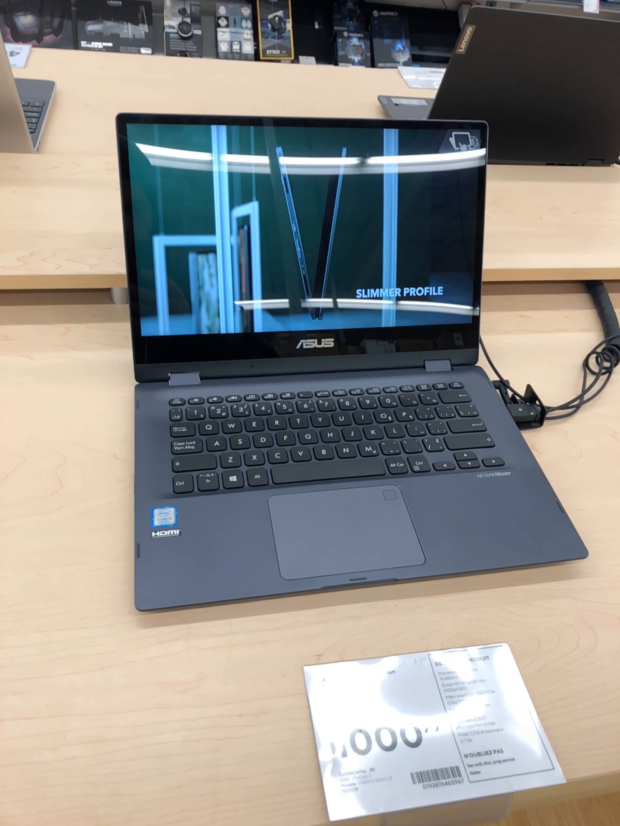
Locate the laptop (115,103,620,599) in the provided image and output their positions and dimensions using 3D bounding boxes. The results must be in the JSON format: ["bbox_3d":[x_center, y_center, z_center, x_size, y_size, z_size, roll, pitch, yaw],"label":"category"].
[{"bbox_3d":[0.024,-0.068,0.525,0.320,0.184,0.332,-3,46,-12],"label":"laptop"}]
